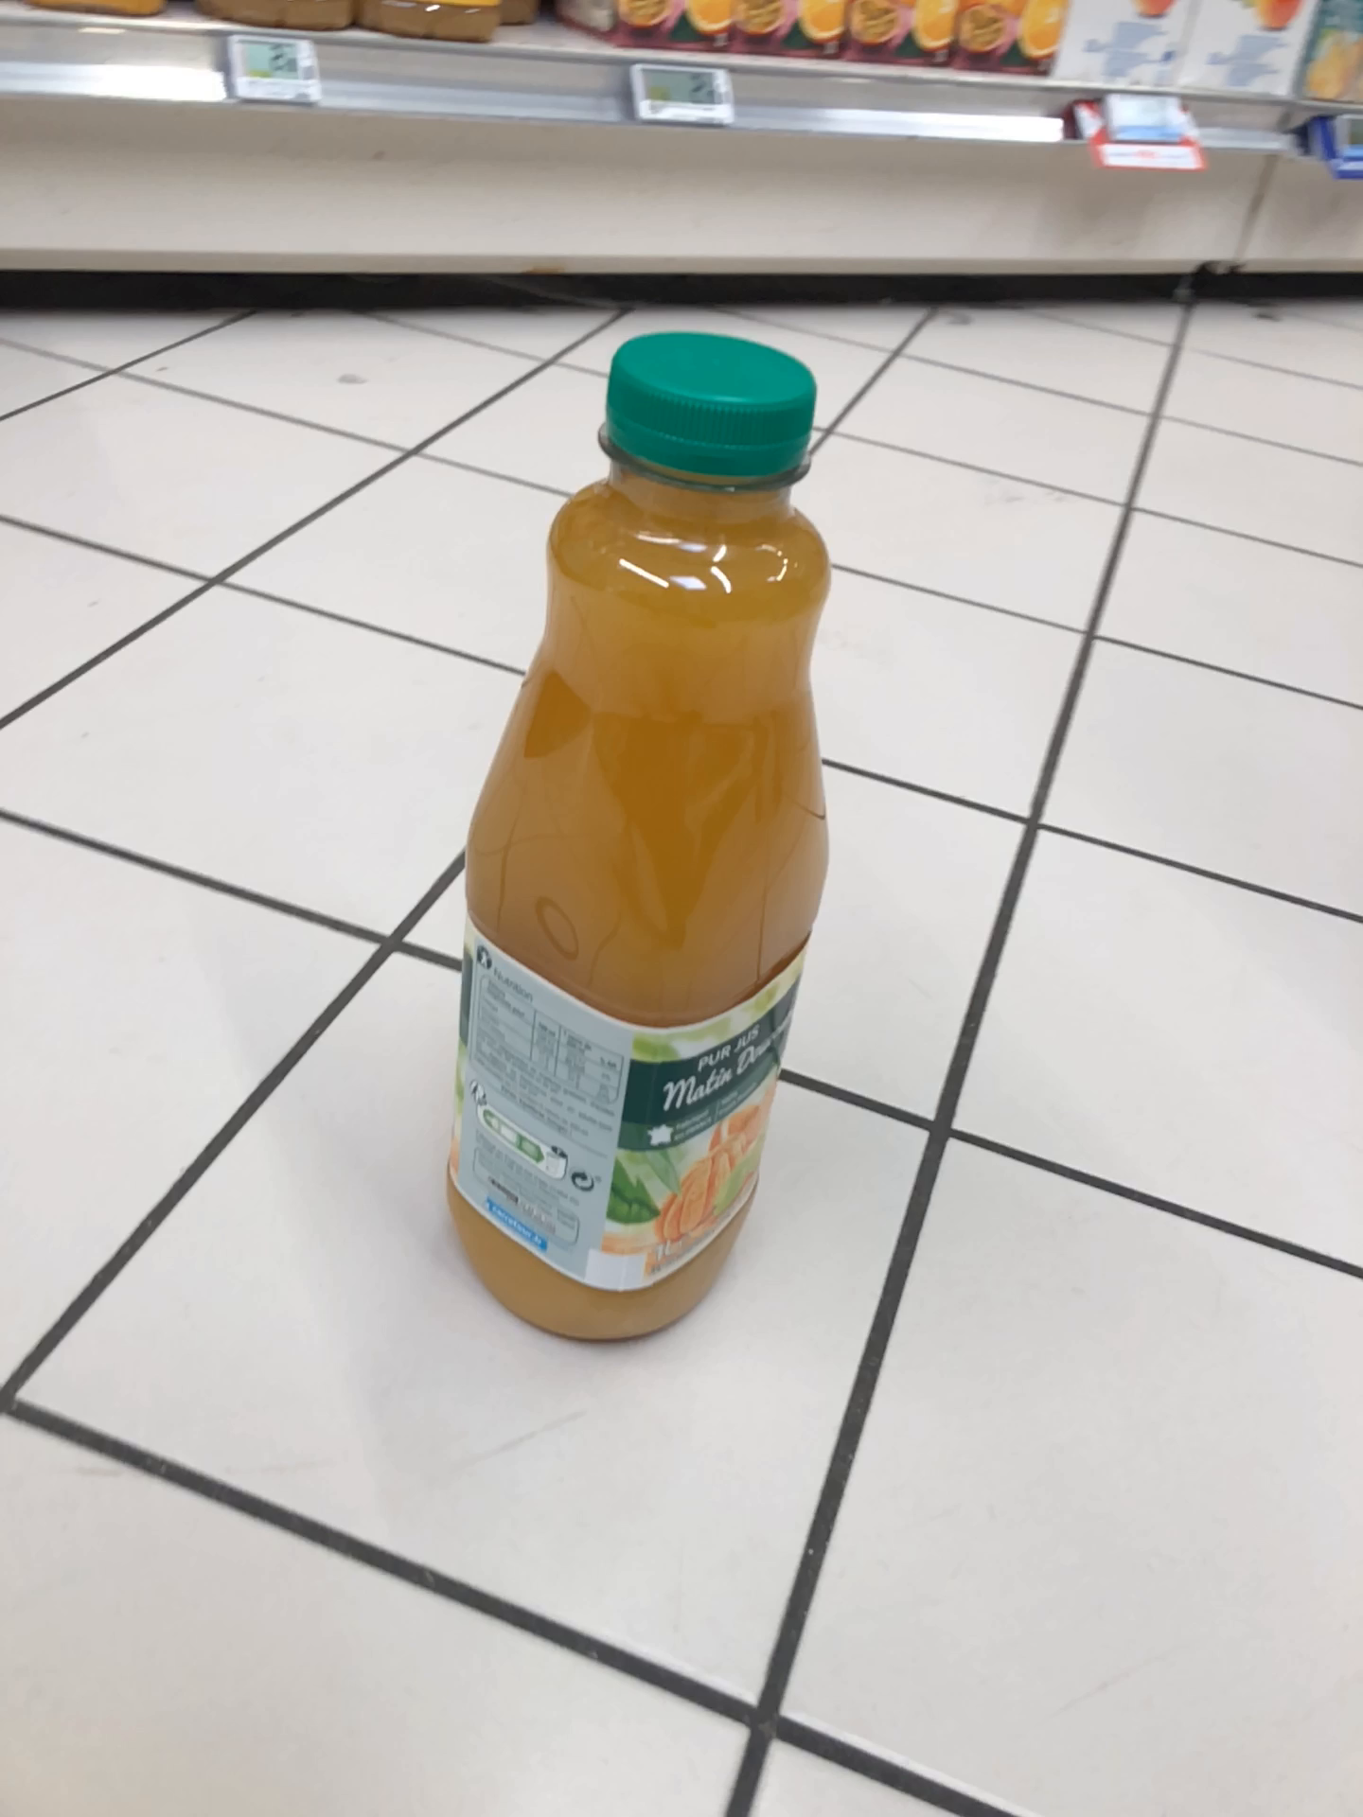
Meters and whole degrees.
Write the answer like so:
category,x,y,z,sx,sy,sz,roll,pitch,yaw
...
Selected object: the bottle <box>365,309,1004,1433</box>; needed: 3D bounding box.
category,x,y,z,sx,sy,sz,roll,pitch,yaw
bottle,-0.013,0.000,0.353,0.090,0.238,0.081,31,41,27
